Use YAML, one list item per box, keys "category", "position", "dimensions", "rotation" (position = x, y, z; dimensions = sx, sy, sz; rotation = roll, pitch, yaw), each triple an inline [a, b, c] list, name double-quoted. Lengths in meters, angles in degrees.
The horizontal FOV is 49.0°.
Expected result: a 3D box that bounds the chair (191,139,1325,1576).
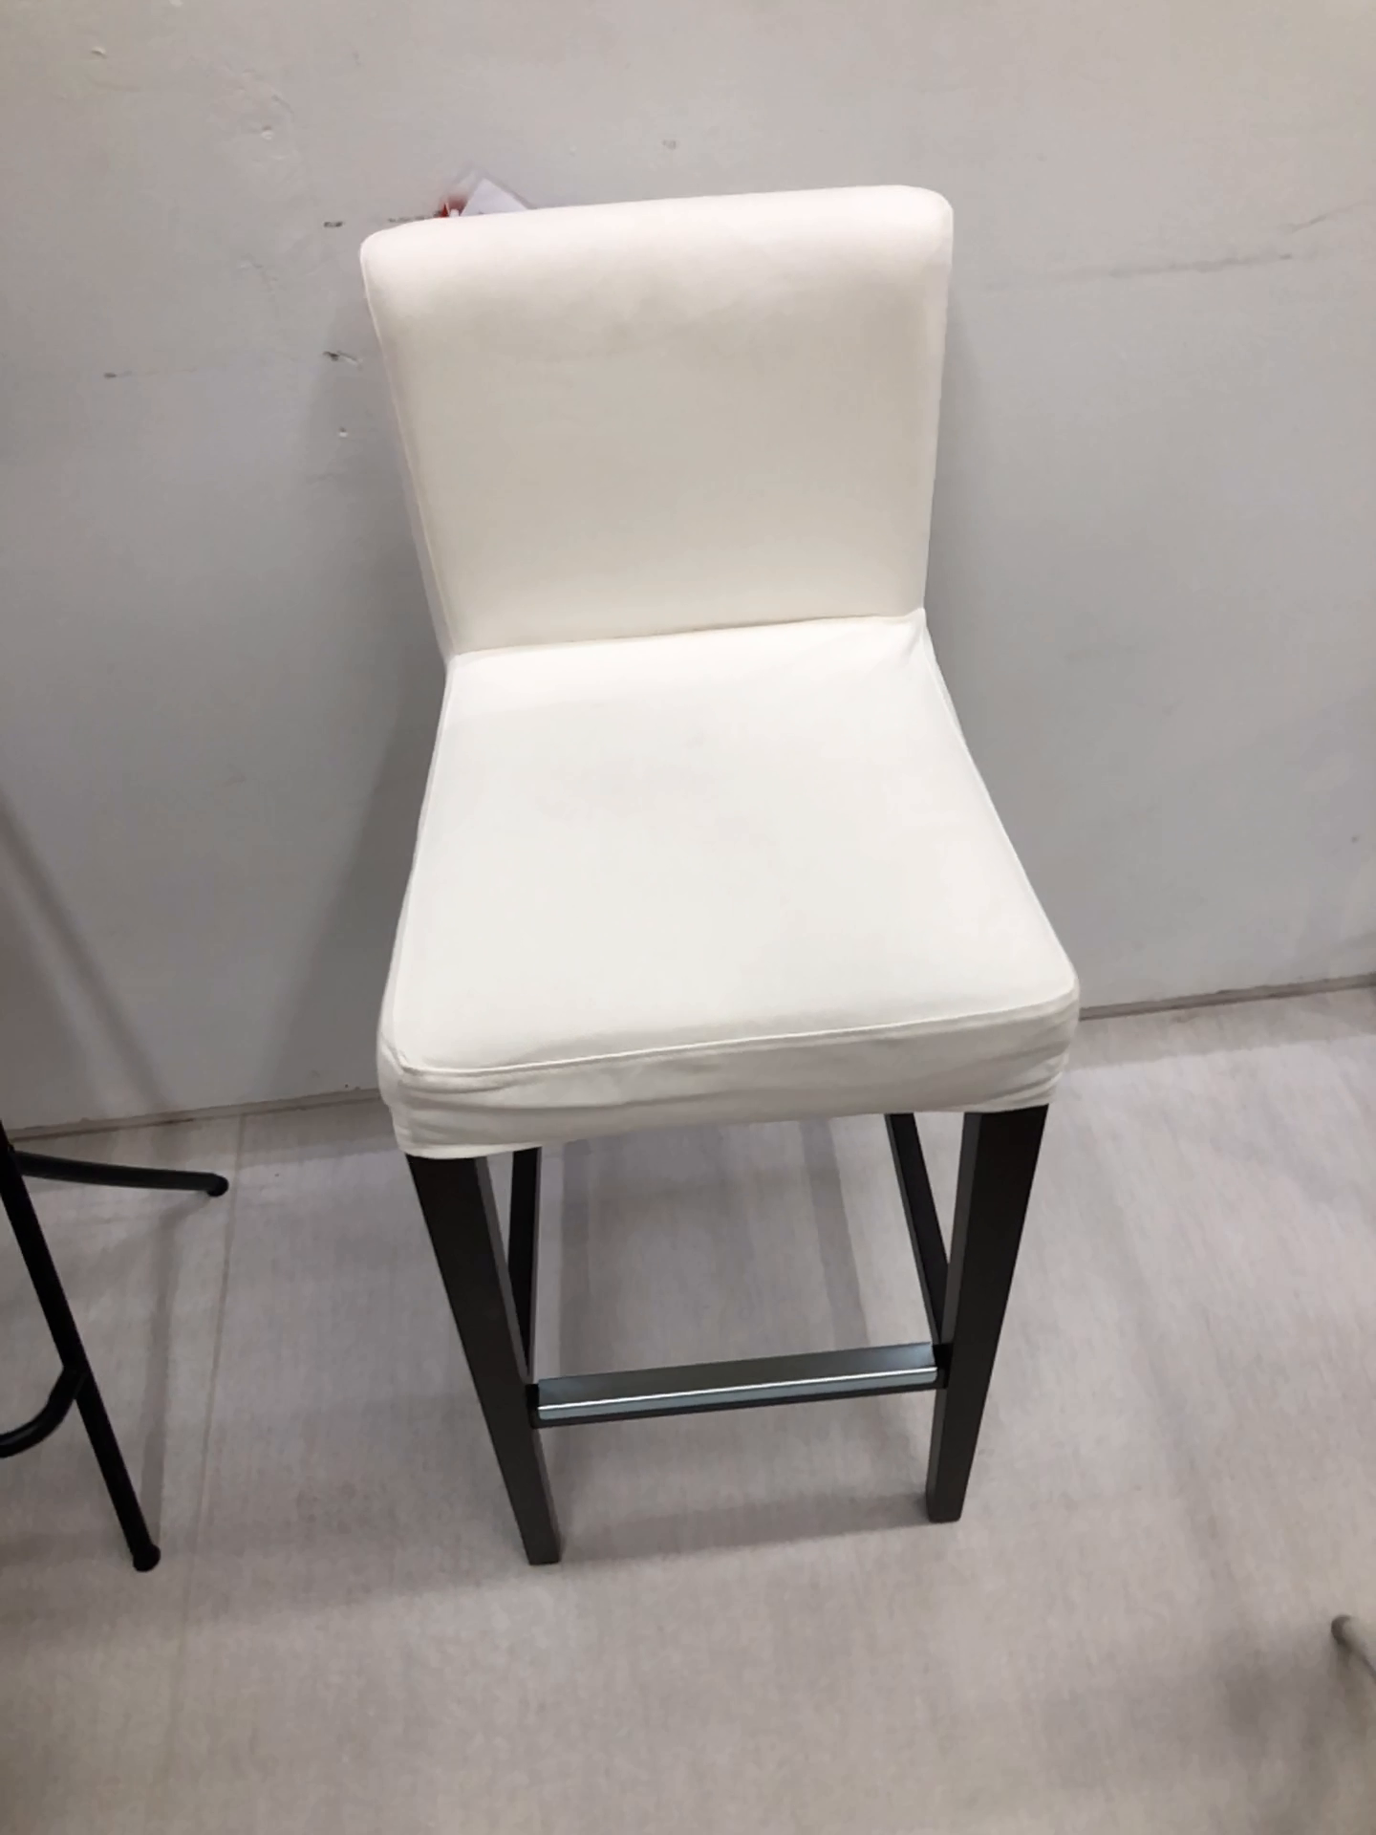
- category: "chair"
  position: [0.026, 0.017, 1.076]
  dimensions: [0.440, 0.855, 0.533]
  rotation: [-6, 47, -2]
